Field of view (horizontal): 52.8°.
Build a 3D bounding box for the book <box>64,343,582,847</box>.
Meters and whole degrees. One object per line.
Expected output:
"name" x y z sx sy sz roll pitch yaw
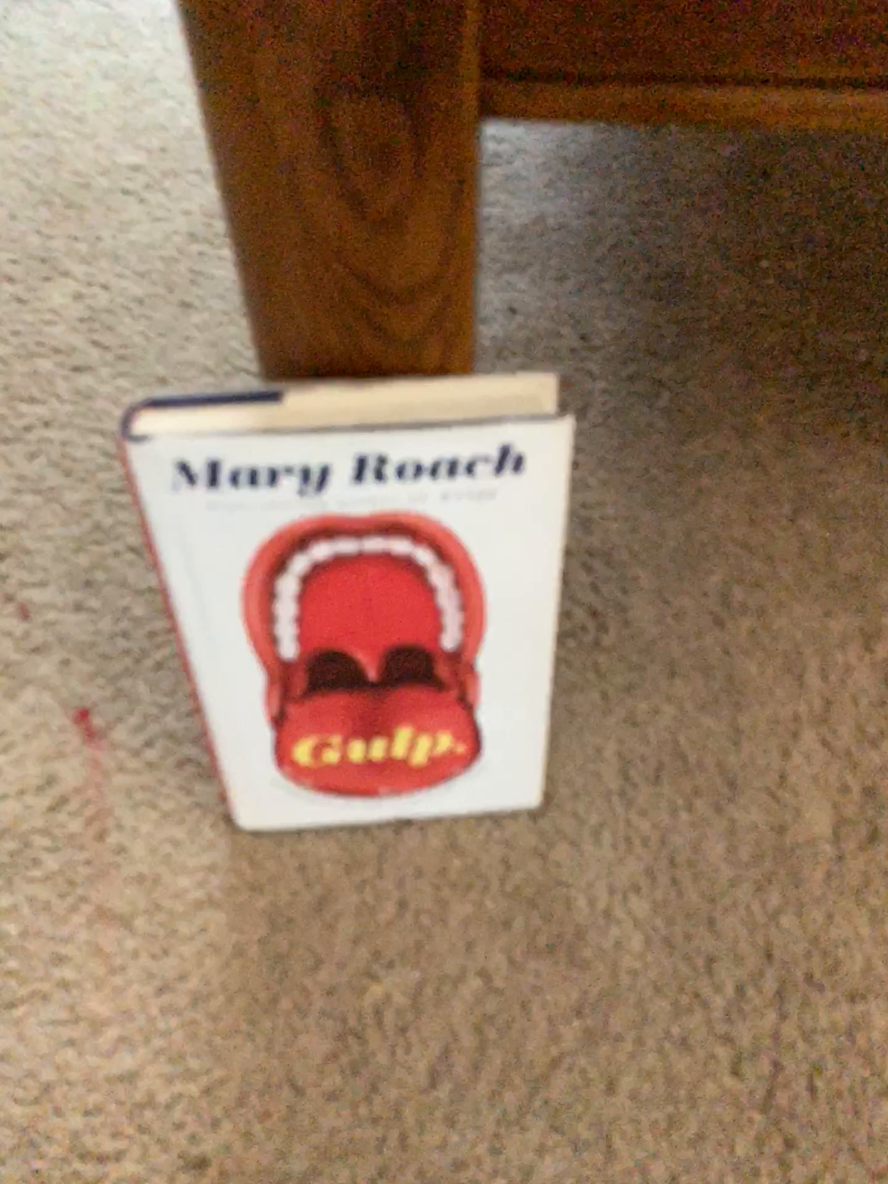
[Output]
"book" -0.035 0.018 0.368 0.160 0.229 0.040 -3 41 -2
